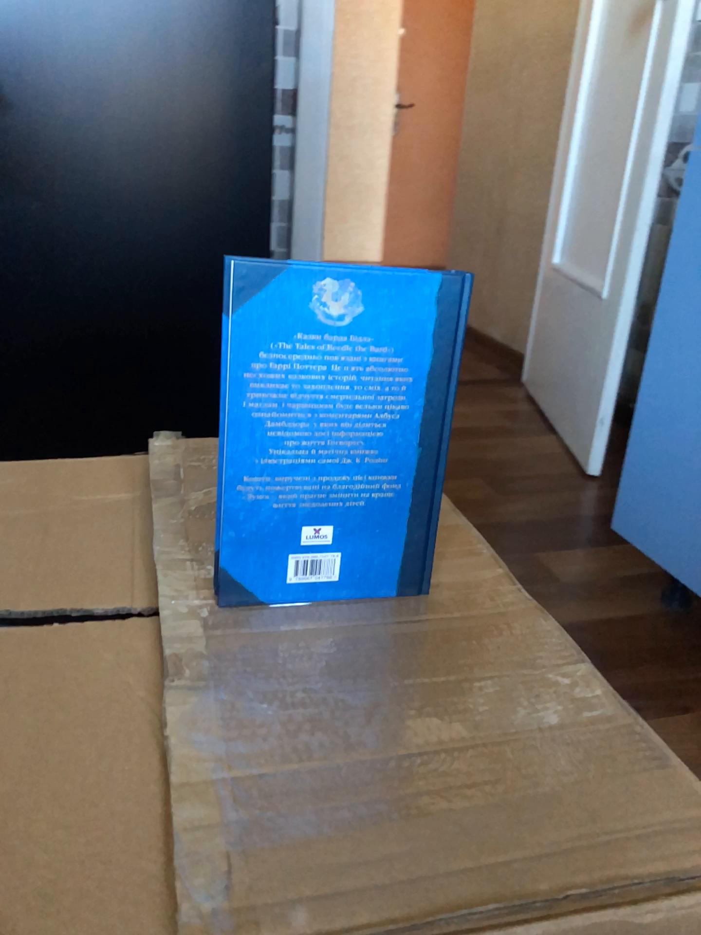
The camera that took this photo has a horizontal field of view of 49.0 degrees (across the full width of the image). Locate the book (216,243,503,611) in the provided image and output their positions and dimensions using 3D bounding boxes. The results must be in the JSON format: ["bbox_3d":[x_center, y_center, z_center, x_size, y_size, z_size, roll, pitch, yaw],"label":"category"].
[{"bbox_3d":[-0.001,-0.018,0.433,0.144,0.199,0.030,-1,22,-14],"label":"book"}]
